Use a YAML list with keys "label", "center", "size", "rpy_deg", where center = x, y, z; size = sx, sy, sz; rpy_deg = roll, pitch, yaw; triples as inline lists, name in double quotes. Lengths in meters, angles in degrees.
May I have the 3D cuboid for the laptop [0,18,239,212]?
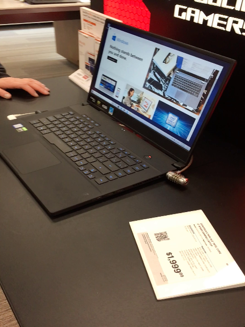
- label: "laptop"
  center: [-0.077, -0.127, 0.630]
  size: [0.338, 0.212, 0.351]
  rpy_deg: [-22, 44, -26]
